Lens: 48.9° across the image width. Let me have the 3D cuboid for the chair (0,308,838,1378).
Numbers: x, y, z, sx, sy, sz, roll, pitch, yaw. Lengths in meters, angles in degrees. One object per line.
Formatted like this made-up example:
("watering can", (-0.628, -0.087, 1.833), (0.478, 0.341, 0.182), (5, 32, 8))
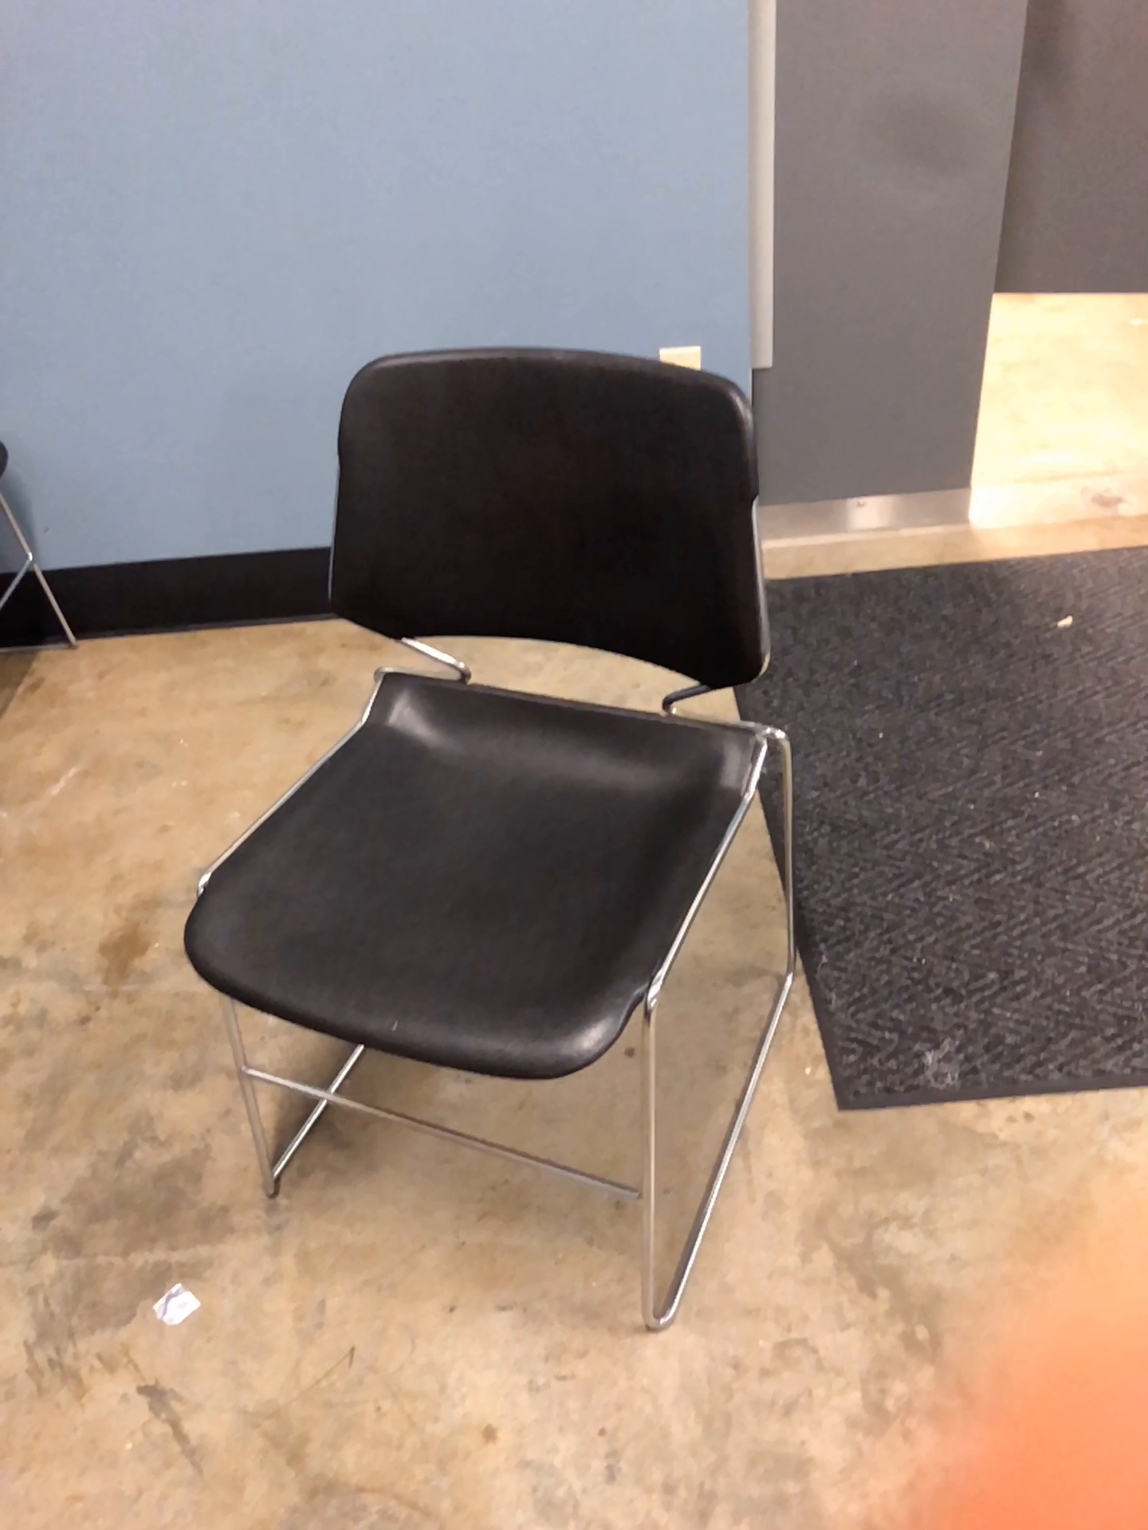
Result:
("chair", (-0.084, 0.050, 1.207), (0.525, 0.765, 0.552), (10, 40, 20))
